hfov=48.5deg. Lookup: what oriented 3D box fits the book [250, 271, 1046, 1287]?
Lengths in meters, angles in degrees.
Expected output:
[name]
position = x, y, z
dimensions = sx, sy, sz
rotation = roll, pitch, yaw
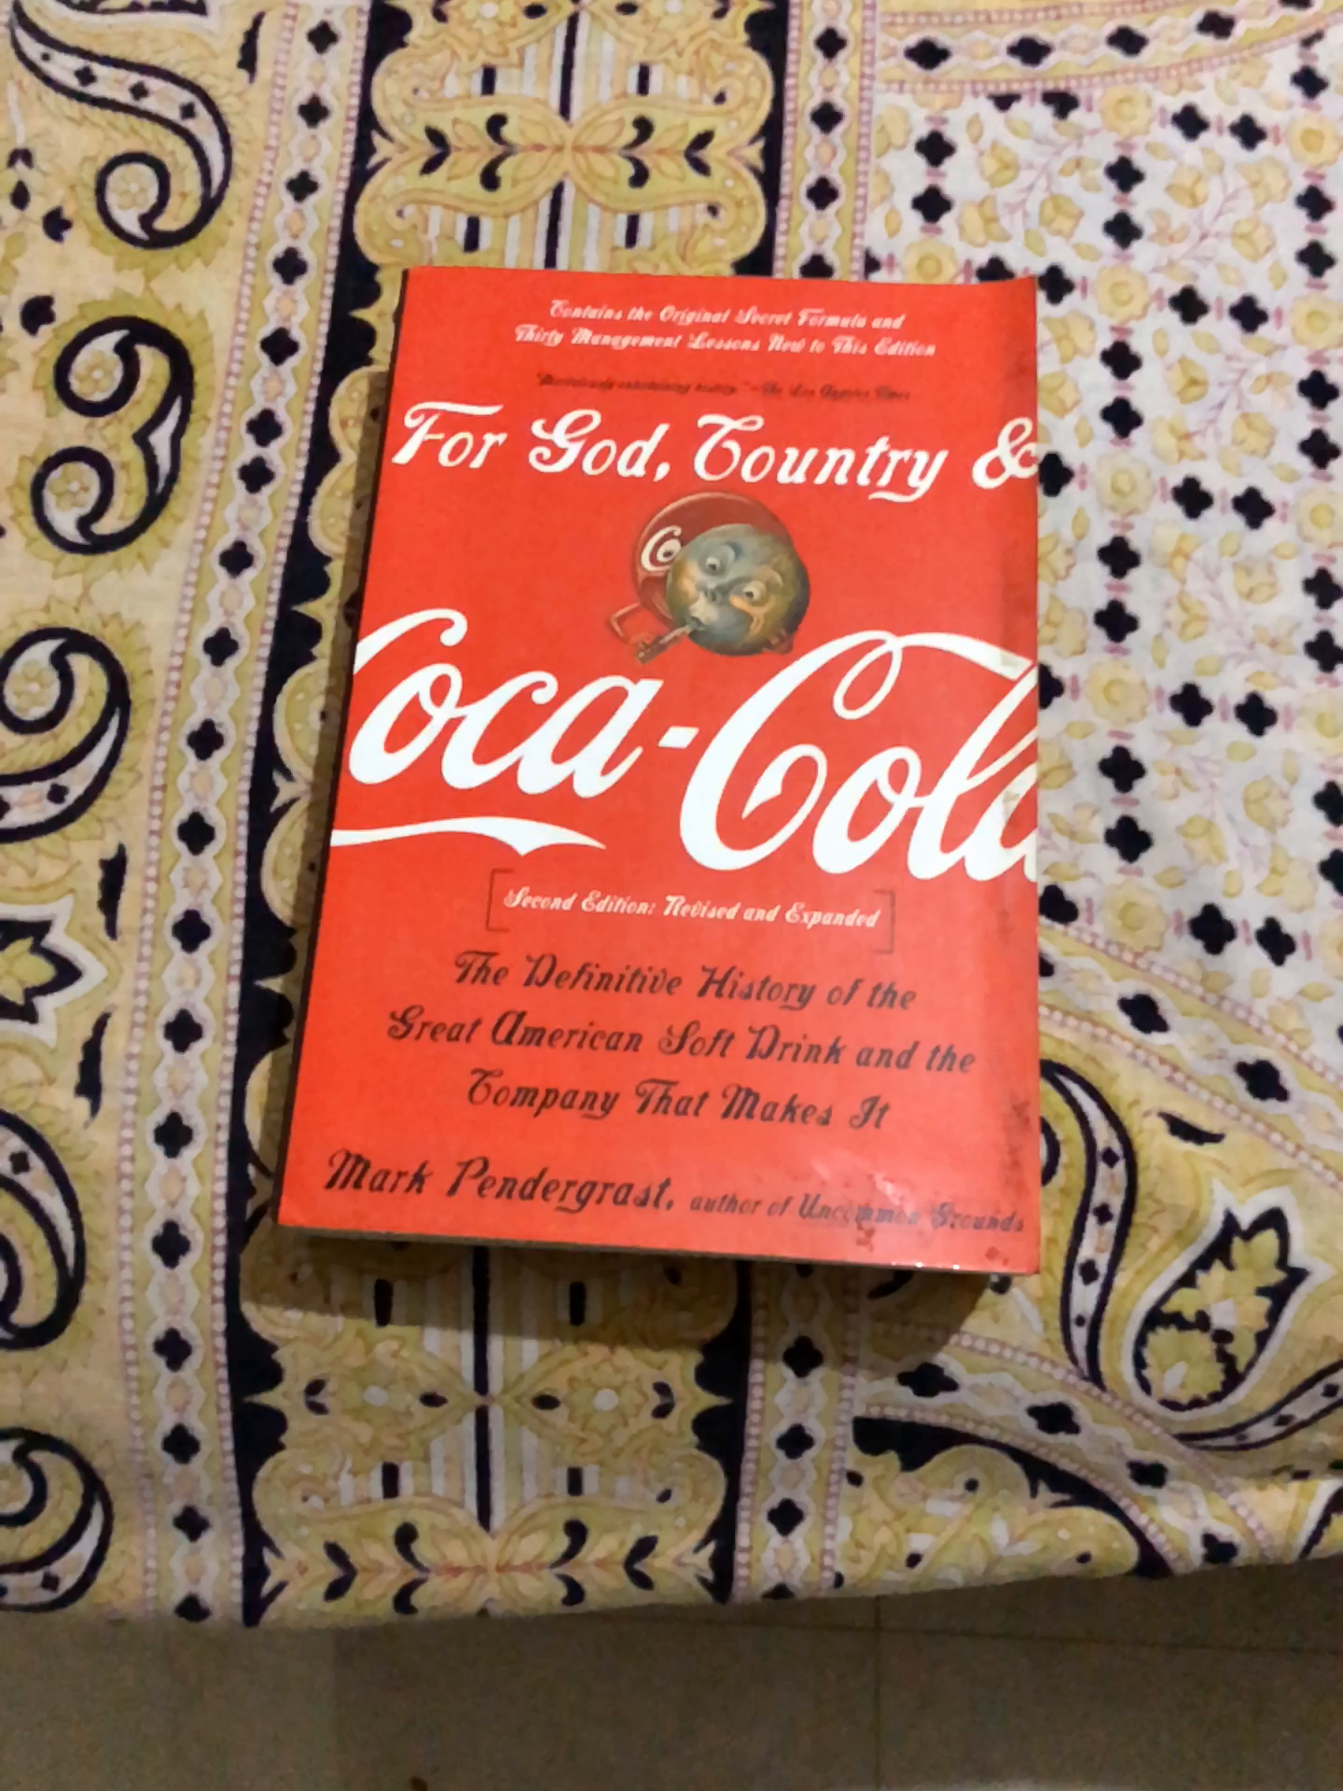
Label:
[book]
position = 0.002, -0.031, 0.354
dimensions = 0.160, 0.050, 0.230
rotation = 3, 74, 2
